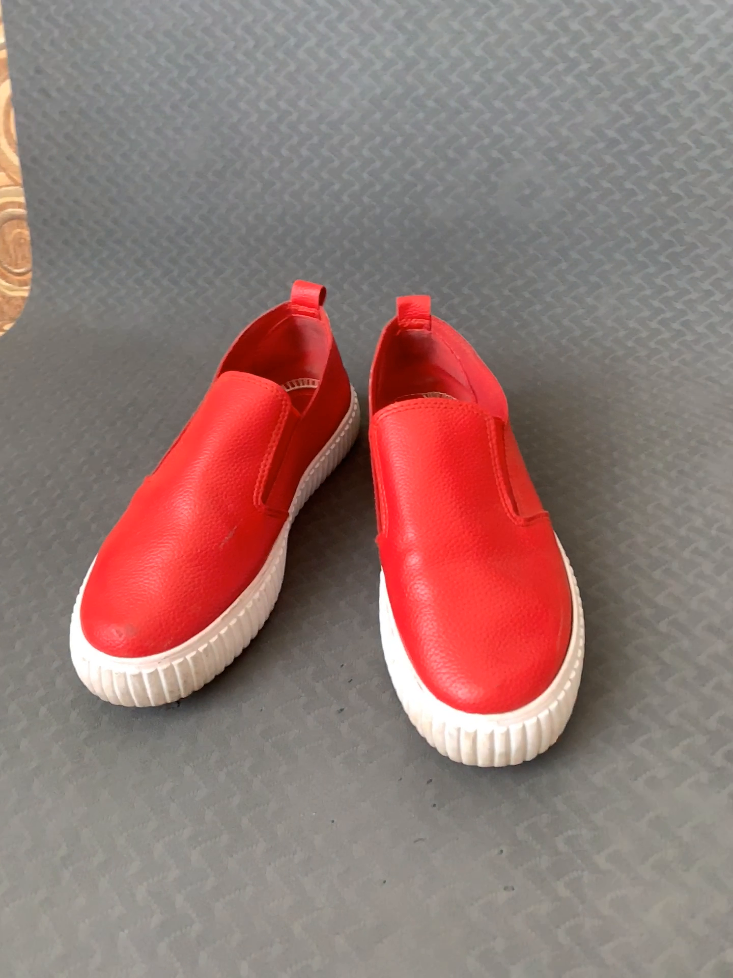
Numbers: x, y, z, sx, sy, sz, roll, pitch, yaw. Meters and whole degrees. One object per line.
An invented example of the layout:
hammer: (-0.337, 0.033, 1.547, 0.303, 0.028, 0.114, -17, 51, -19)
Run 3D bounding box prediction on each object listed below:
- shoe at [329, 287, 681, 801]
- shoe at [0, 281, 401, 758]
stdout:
shoe: (0.041, 0.003, 0.344, 0.095, 0.070, 0.241, -6, 44, -2)
shoe: (-0.069, -0.007, 0.371, 0.095, 0.070, 0.241, 13, 46, 17)
